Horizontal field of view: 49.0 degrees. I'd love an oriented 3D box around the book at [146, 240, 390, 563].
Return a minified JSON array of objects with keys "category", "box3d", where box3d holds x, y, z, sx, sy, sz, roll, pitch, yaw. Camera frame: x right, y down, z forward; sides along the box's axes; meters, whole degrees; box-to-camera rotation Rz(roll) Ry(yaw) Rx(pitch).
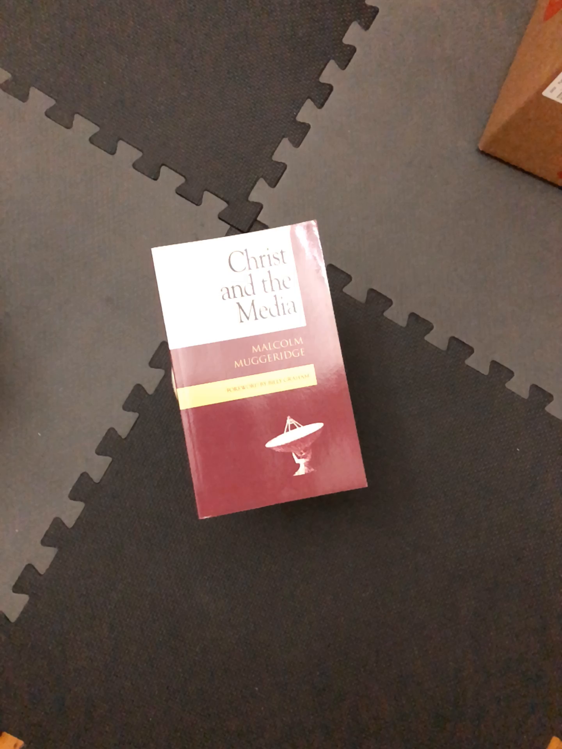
[{"category":"book","box3d":[-0.010,0.017,0.450,0.140,0.020,0.210,-10,86,-4]}]
